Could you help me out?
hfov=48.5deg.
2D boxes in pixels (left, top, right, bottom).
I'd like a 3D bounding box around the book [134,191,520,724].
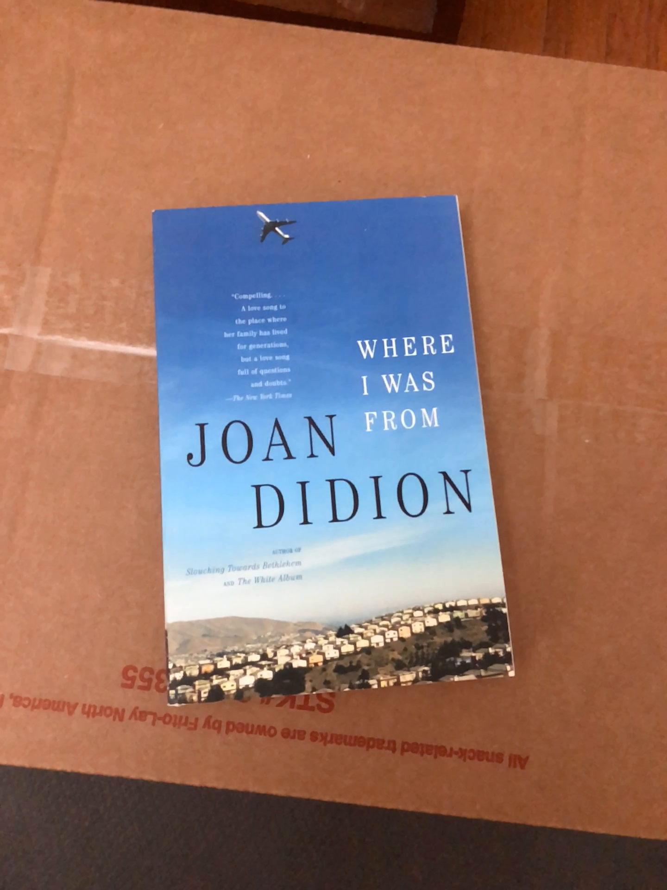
[{"bbox_3d":[-0.008,-0.002,0.309,0.140,0.020,0.210,-4,77,-3],"label":"book"}]
